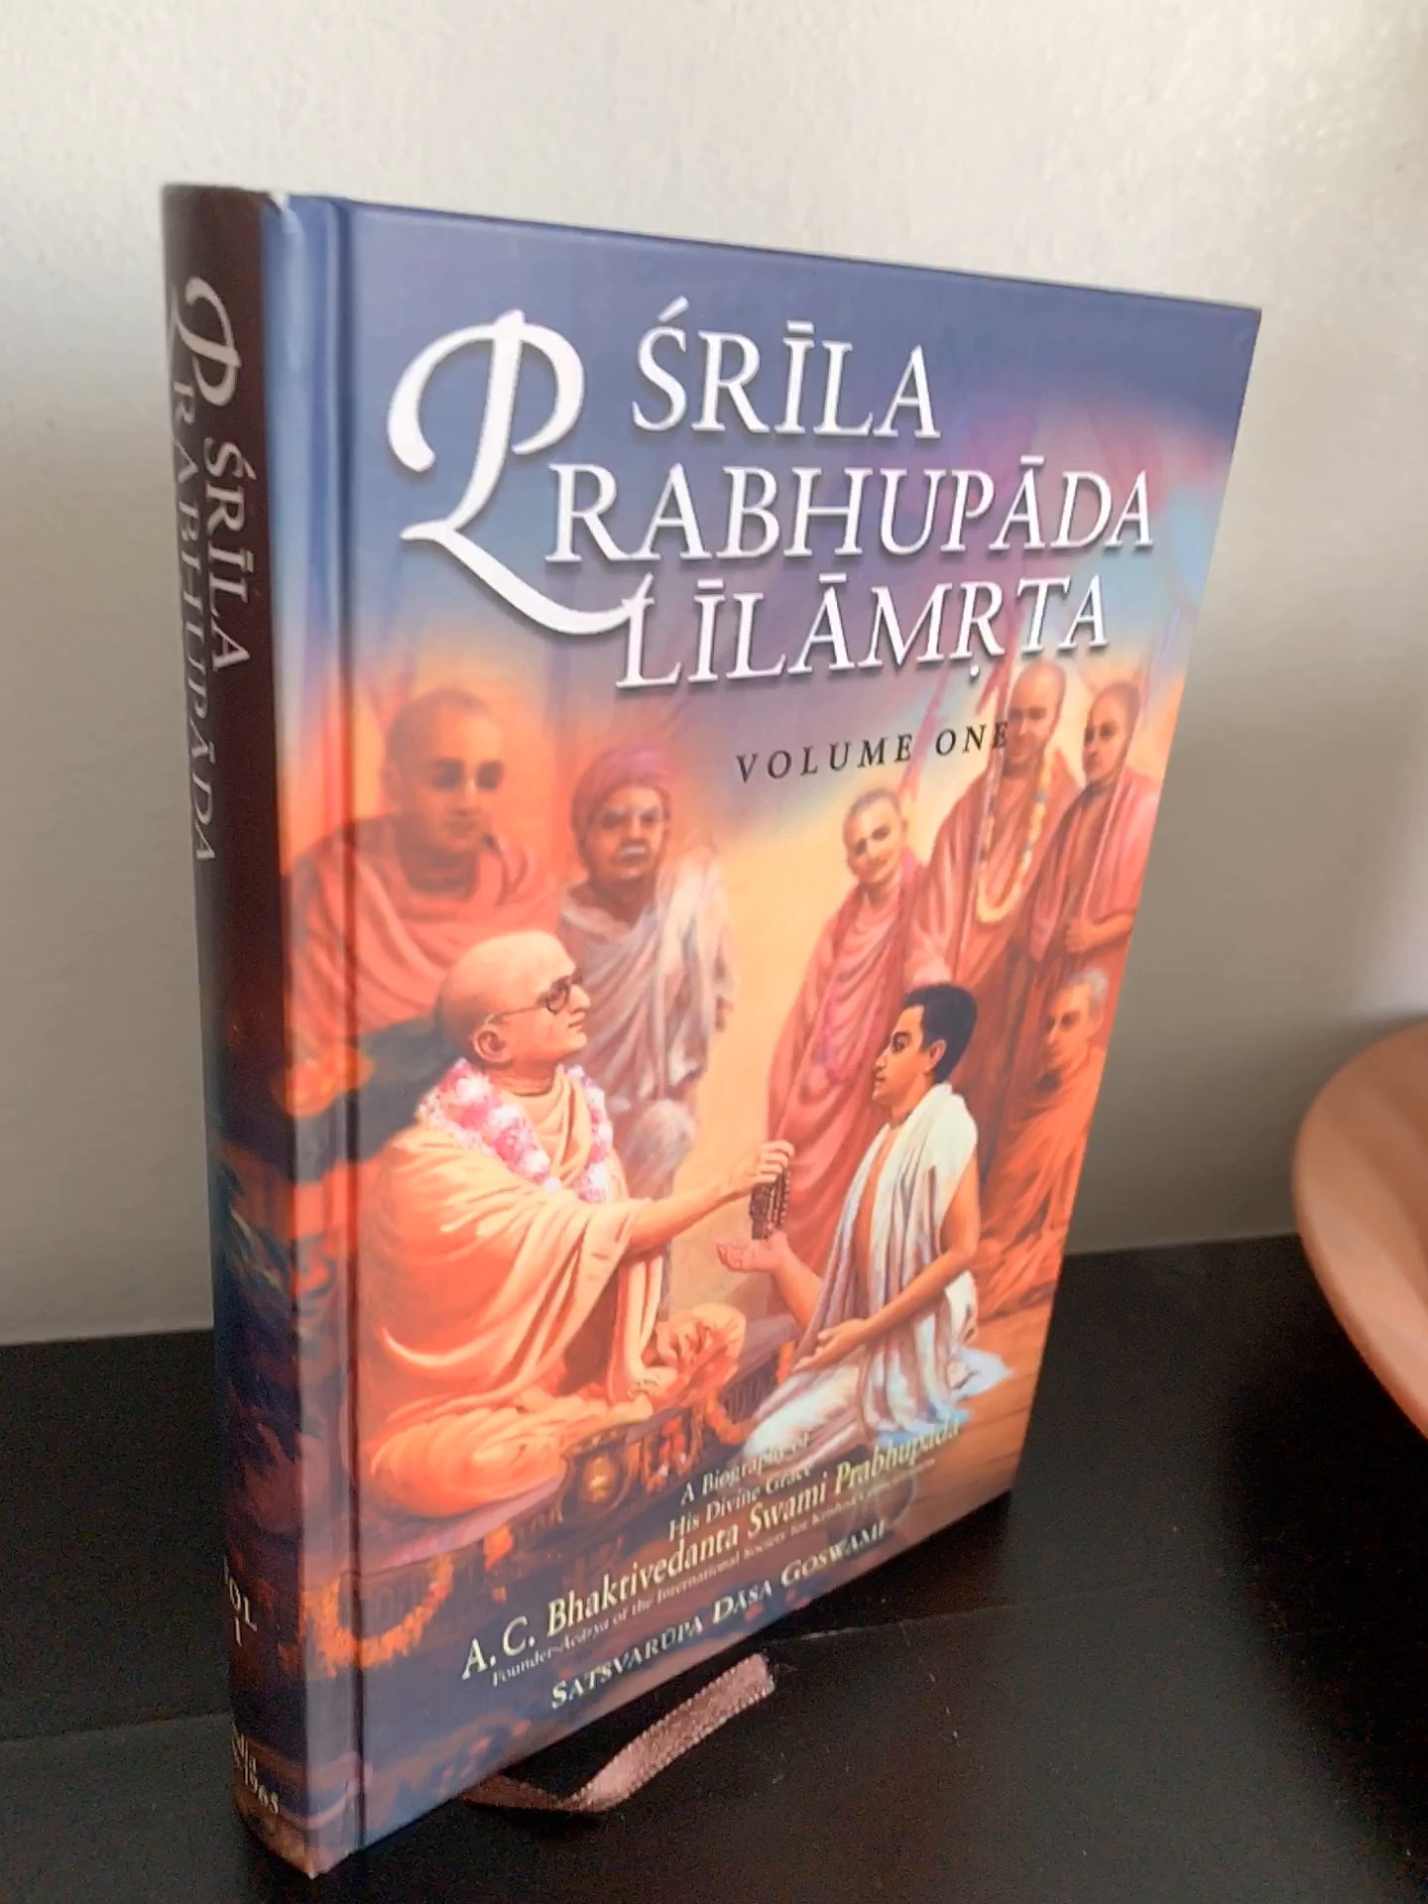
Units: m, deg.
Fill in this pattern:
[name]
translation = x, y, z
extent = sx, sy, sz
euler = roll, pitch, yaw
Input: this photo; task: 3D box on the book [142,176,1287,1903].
[book]
translation = 0.004, 0.018, 0.237
extent = 0.162, 0.233, 0.030
euler = -11, 28, -35
